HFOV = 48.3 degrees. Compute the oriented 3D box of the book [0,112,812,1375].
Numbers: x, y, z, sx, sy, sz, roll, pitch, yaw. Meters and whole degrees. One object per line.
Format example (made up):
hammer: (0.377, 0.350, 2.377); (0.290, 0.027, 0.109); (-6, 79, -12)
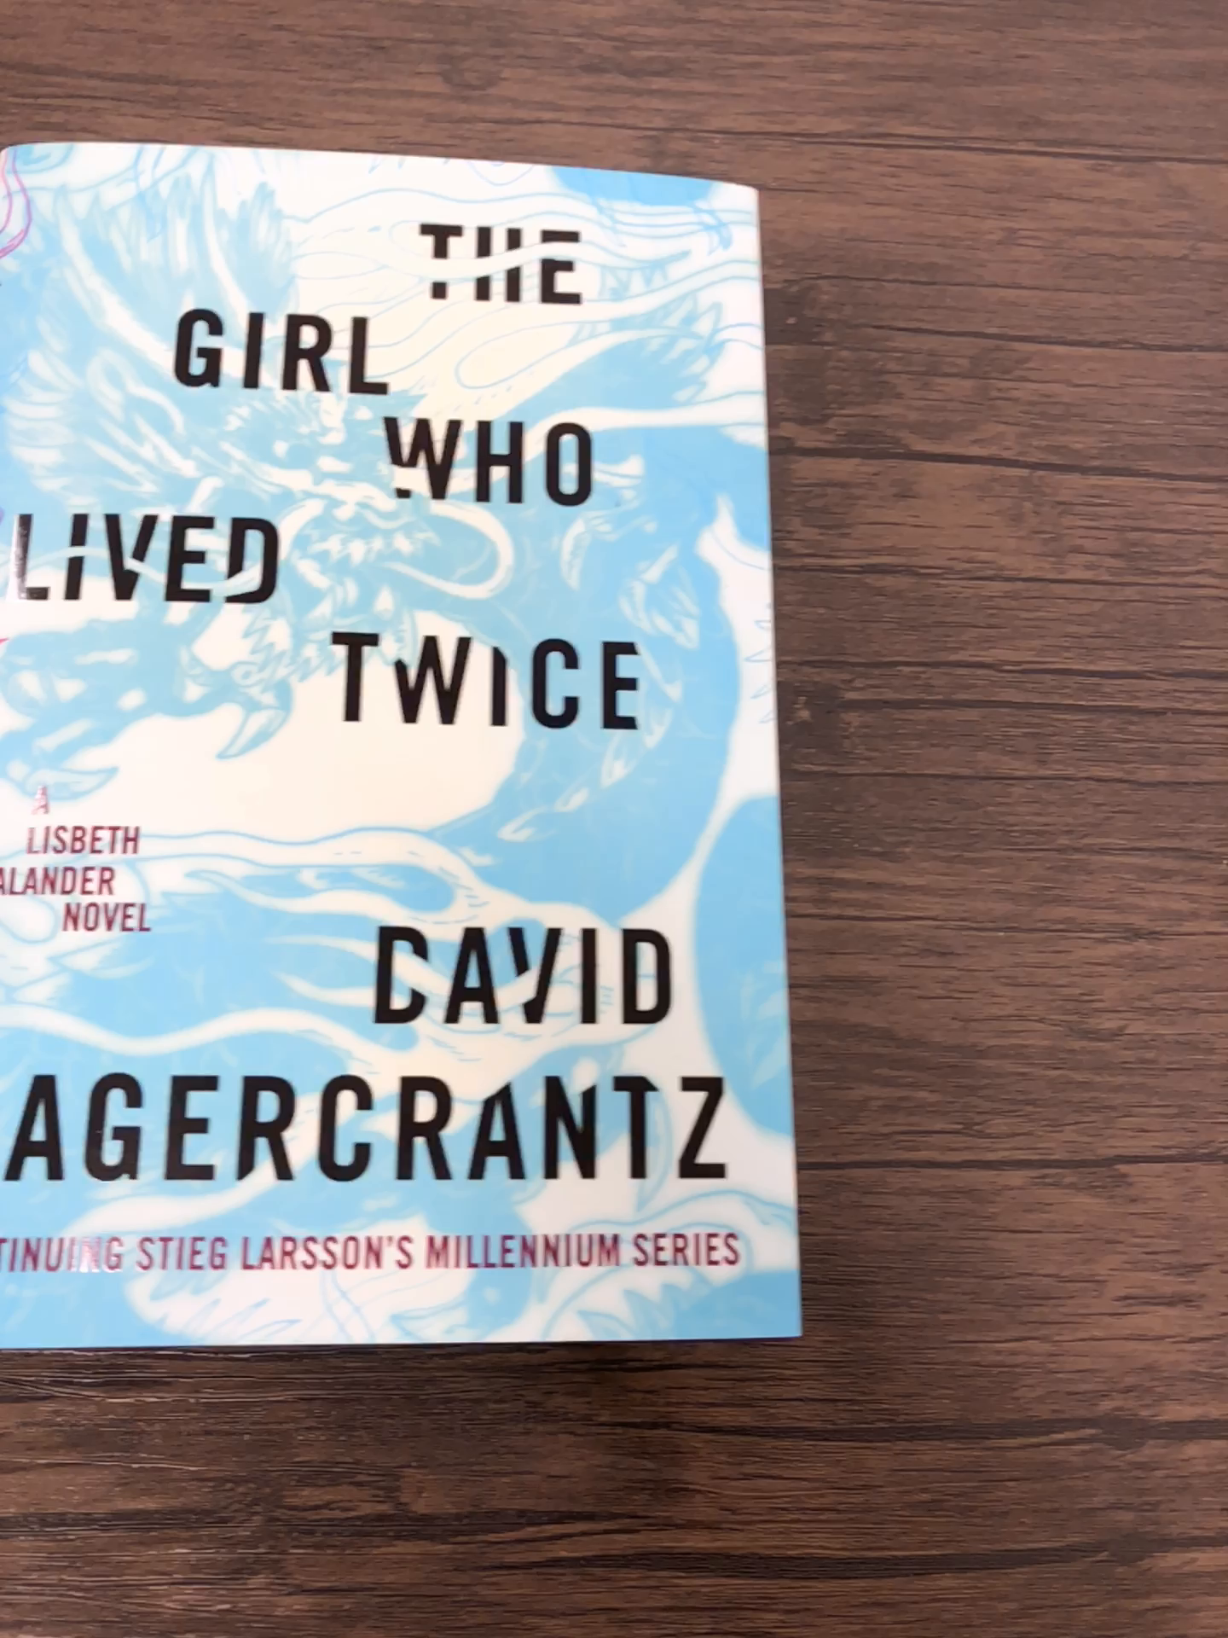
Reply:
book: (-0.052, -0.021, 0.274); (0.170, 0.040, 0.240); (1, 75, -4)
